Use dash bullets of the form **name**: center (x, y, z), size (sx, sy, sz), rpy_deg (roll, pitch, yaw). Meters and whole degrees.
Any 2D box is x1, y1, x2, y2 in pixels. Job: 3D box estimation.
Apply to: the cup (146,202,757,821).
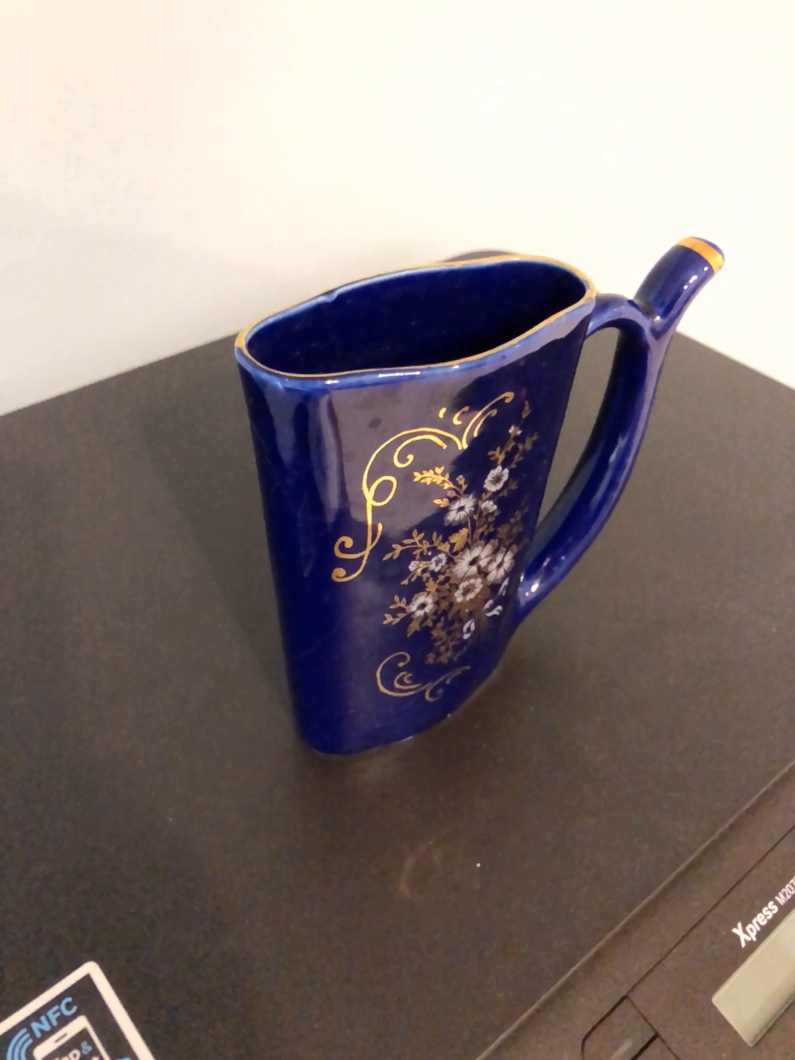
- **cup**: center (0.016, -0.008, 0.228), size (0.130, 0.109, 0.050), rpy_deg (-26, 48, -28)
